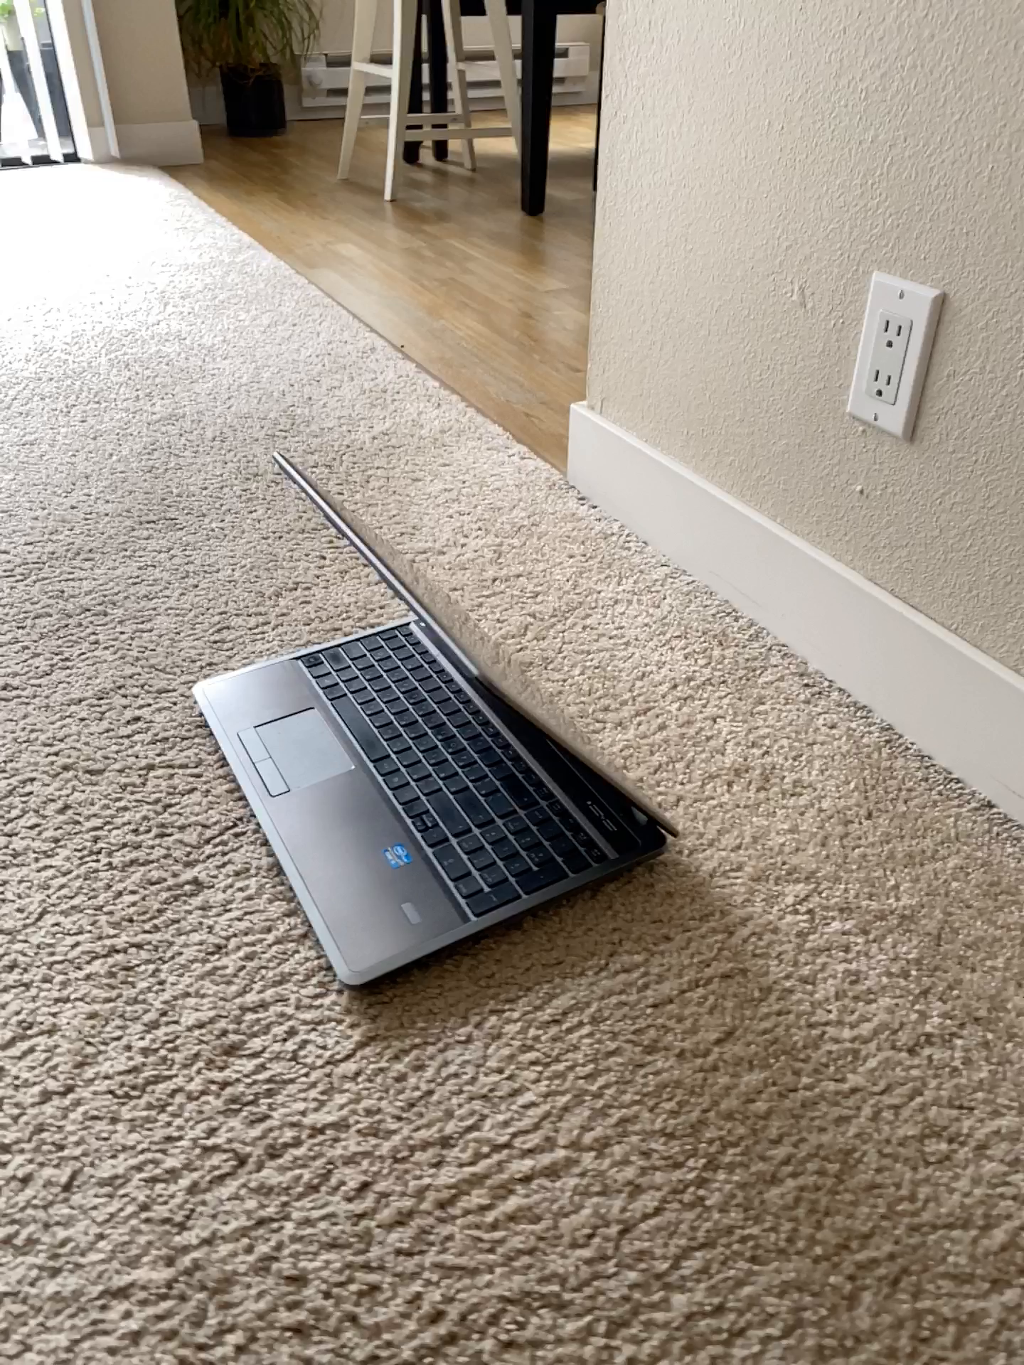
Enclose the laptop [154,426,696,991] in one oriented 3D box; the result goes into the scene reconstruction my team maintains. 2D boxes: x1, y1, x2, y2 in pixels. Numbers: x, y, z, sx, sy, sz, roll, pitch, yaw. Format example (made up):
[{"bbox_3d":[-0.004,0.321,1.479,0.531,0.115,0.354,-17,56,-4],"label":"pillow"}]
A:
[{"bbox_3d":[-0.084,-0.015,0.789,0.249,0.189,0.372,-19,40,-23],"label":"laptop"}]
